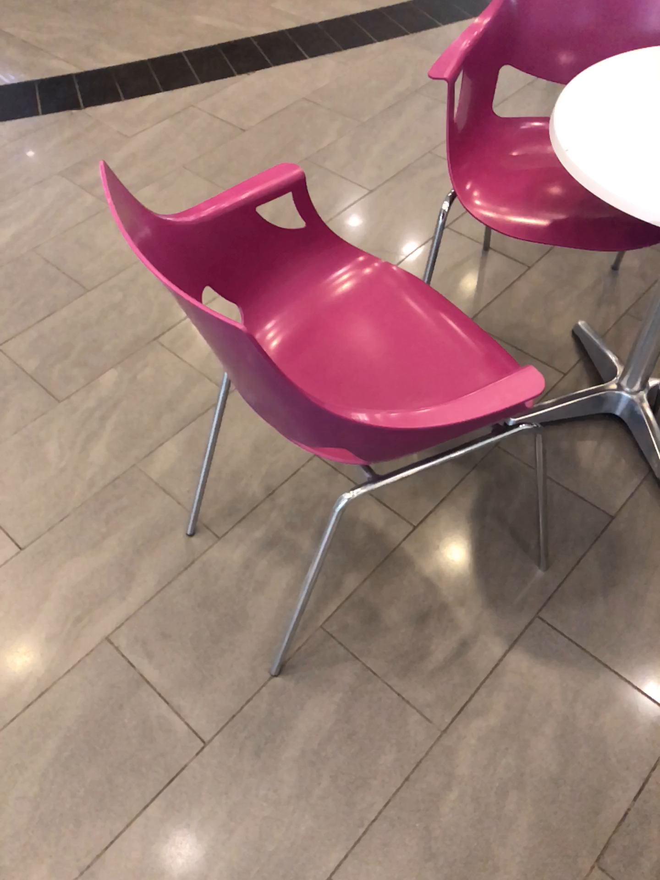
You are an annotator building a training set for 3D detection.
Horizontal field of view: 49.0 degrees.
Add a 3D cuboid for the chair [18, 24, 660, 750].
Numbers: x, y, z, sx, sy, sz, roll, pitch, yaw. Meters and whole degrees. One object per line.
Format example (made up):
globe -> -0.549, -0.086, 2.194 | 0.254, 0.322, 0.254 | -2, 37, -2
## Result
chair -> 0.049, -0.069, 1.223 | 0.671, 0.837, 0.622 | -27, 53, -17
